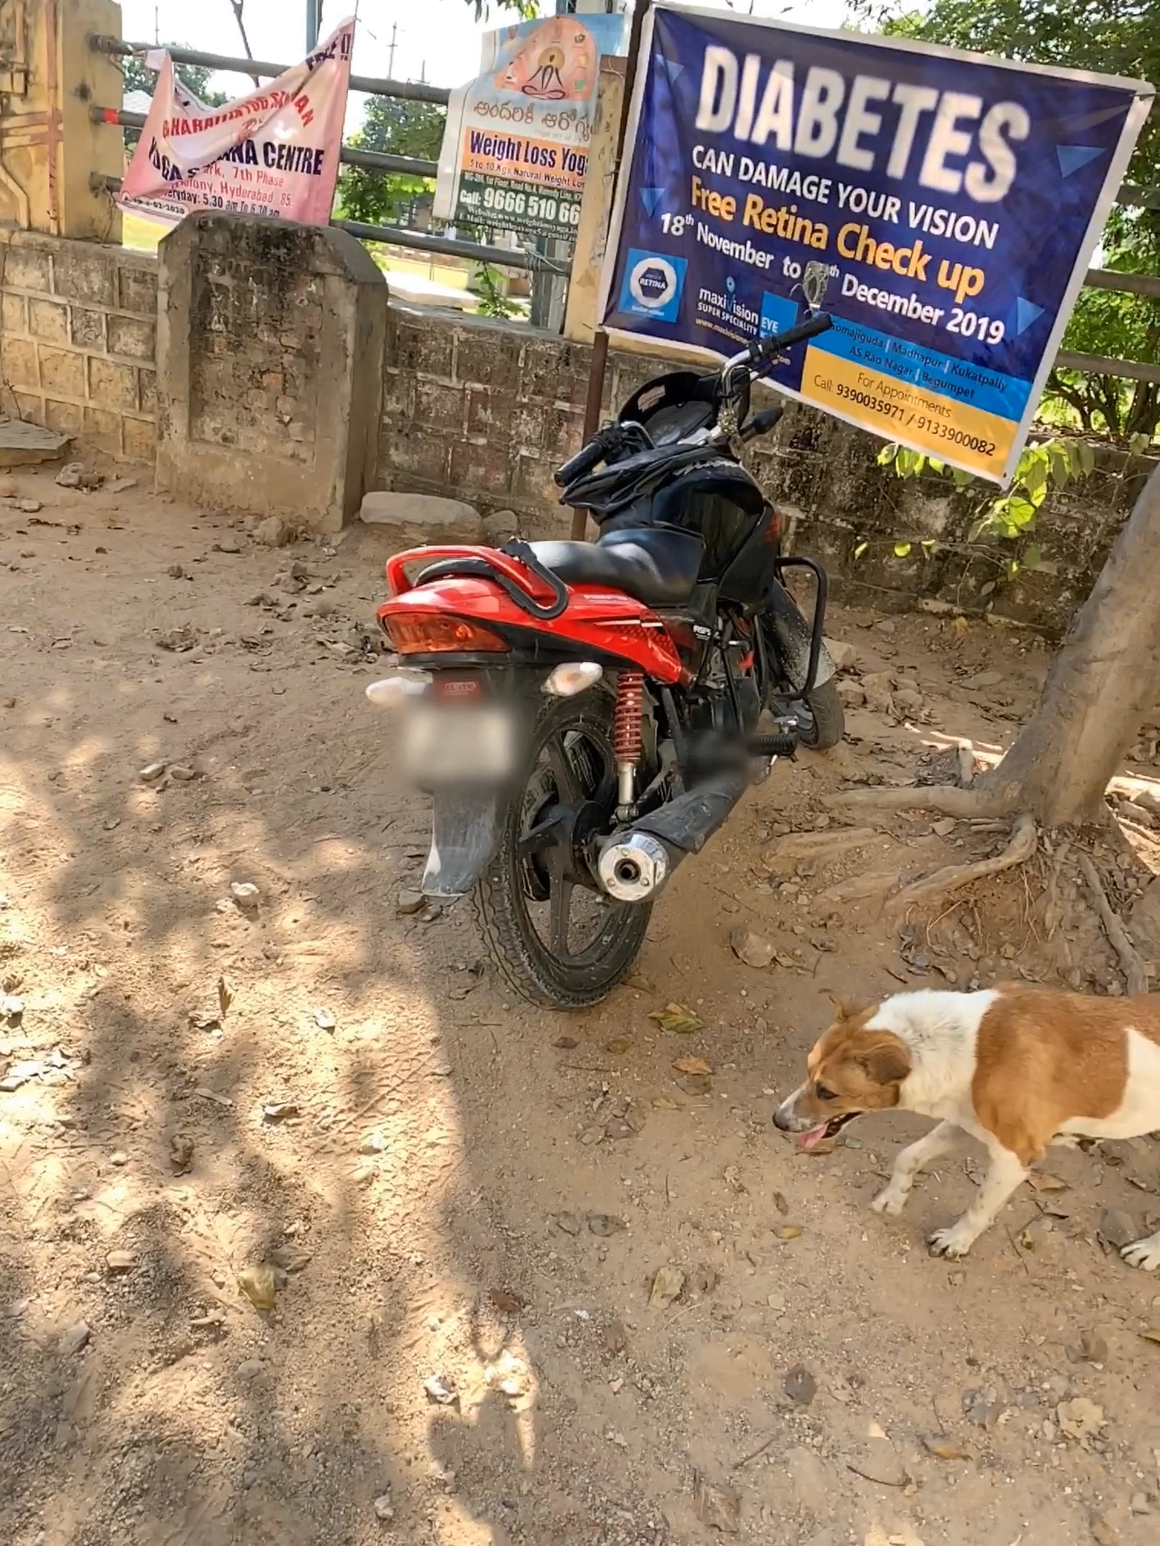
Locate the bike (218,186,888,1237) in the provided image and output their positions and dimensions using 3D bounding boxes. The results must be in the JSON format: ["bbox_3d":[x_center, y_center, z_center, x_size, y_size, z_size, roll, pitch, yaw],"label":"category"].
[{"bbox_3d":[0.025,-0.357,2.487,0.752,1.442,1.623,15,28,13],"label":"bike"}]
